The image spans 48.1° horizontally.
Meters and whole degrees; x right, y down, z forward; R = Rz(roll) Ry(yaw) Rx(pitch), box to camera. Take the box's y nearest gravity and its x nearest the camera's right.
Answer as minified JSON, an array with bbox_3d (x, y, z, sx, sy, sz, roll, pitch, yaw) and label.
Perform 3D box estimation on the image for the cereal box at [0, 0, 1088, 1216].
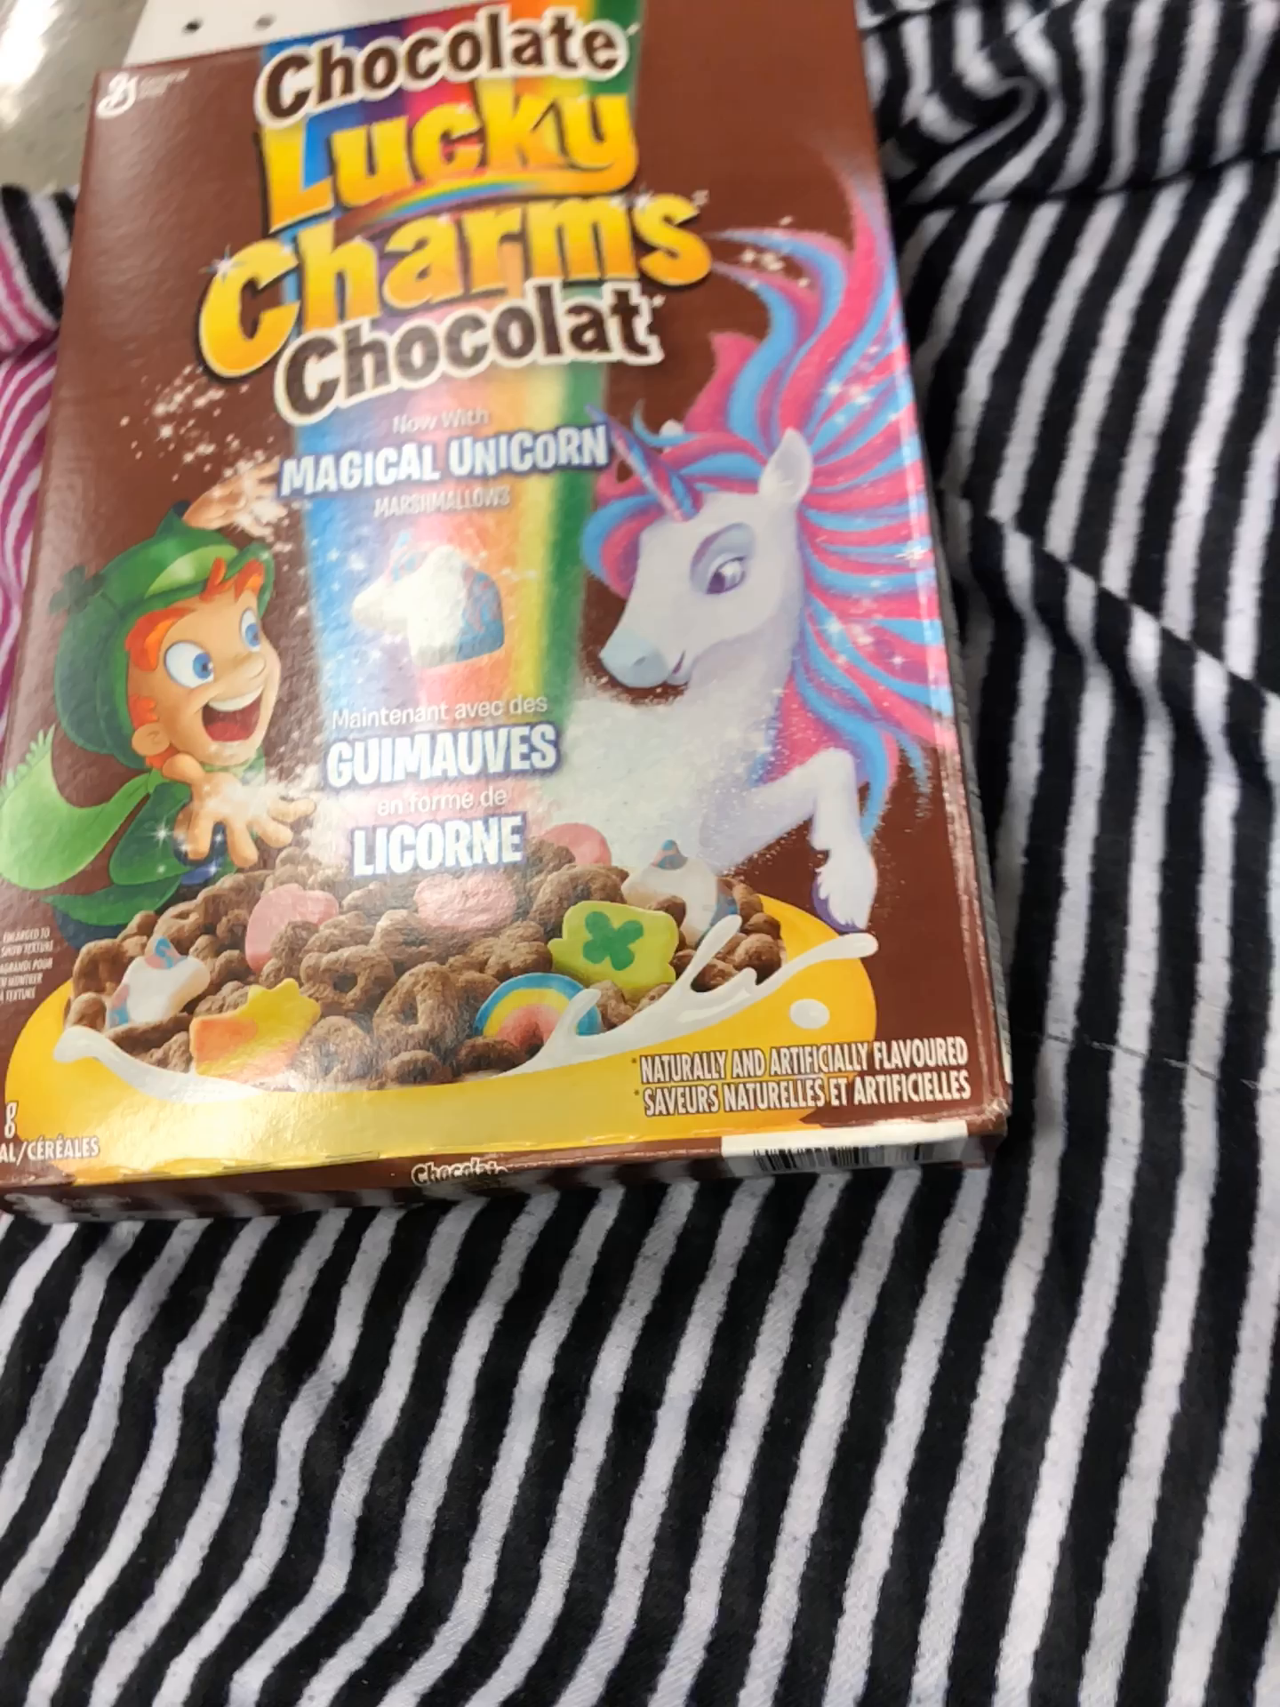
[{"bbox_3d":[-0.036,-0.078,0.320,0.210,0.060,0.290,-6,71,7],"label":"cereal box"}]
